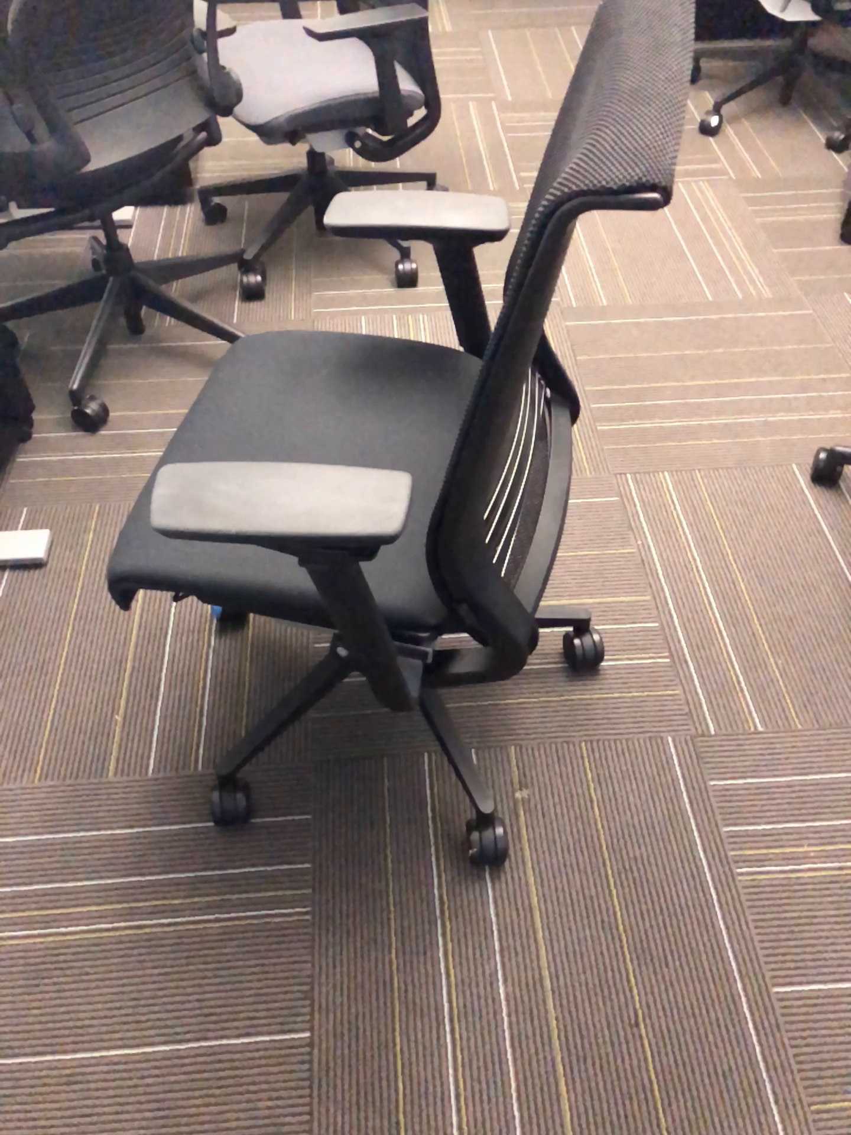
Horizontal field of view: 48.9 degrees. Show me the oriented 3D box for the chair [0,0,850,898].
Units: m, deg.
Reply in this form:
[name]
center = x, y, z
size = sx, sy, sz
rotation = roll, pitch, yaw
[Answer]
[chair]
center = -0.005, -0.203, 1.176
size = 0.660, 0.996, 0.753
rotation = 6, 48, 7
